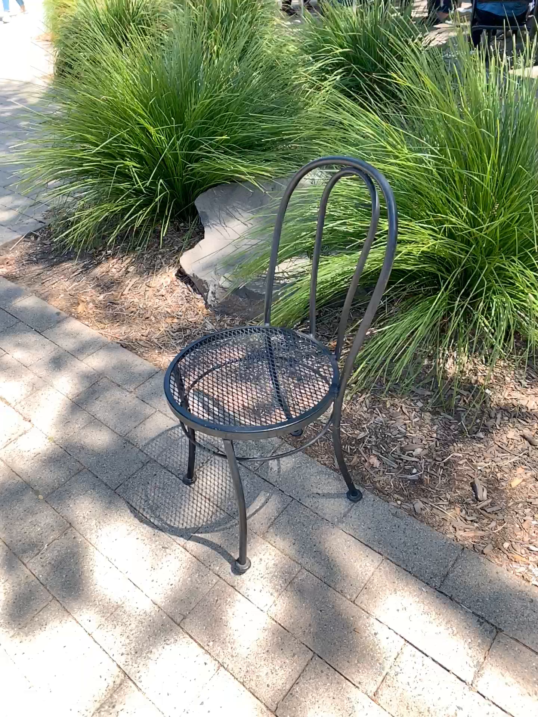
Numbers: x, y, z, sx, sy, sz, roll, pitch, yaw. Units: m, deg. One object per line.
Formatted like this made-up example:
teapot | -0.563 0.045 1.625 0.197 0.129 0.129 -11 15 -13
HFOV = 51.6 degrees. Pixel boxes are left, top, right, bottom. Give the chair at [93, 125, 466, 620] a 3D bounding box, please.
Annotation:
chair | 0.030 0.065 1.345 0.528 0.997 0.463 -22 43 -19
